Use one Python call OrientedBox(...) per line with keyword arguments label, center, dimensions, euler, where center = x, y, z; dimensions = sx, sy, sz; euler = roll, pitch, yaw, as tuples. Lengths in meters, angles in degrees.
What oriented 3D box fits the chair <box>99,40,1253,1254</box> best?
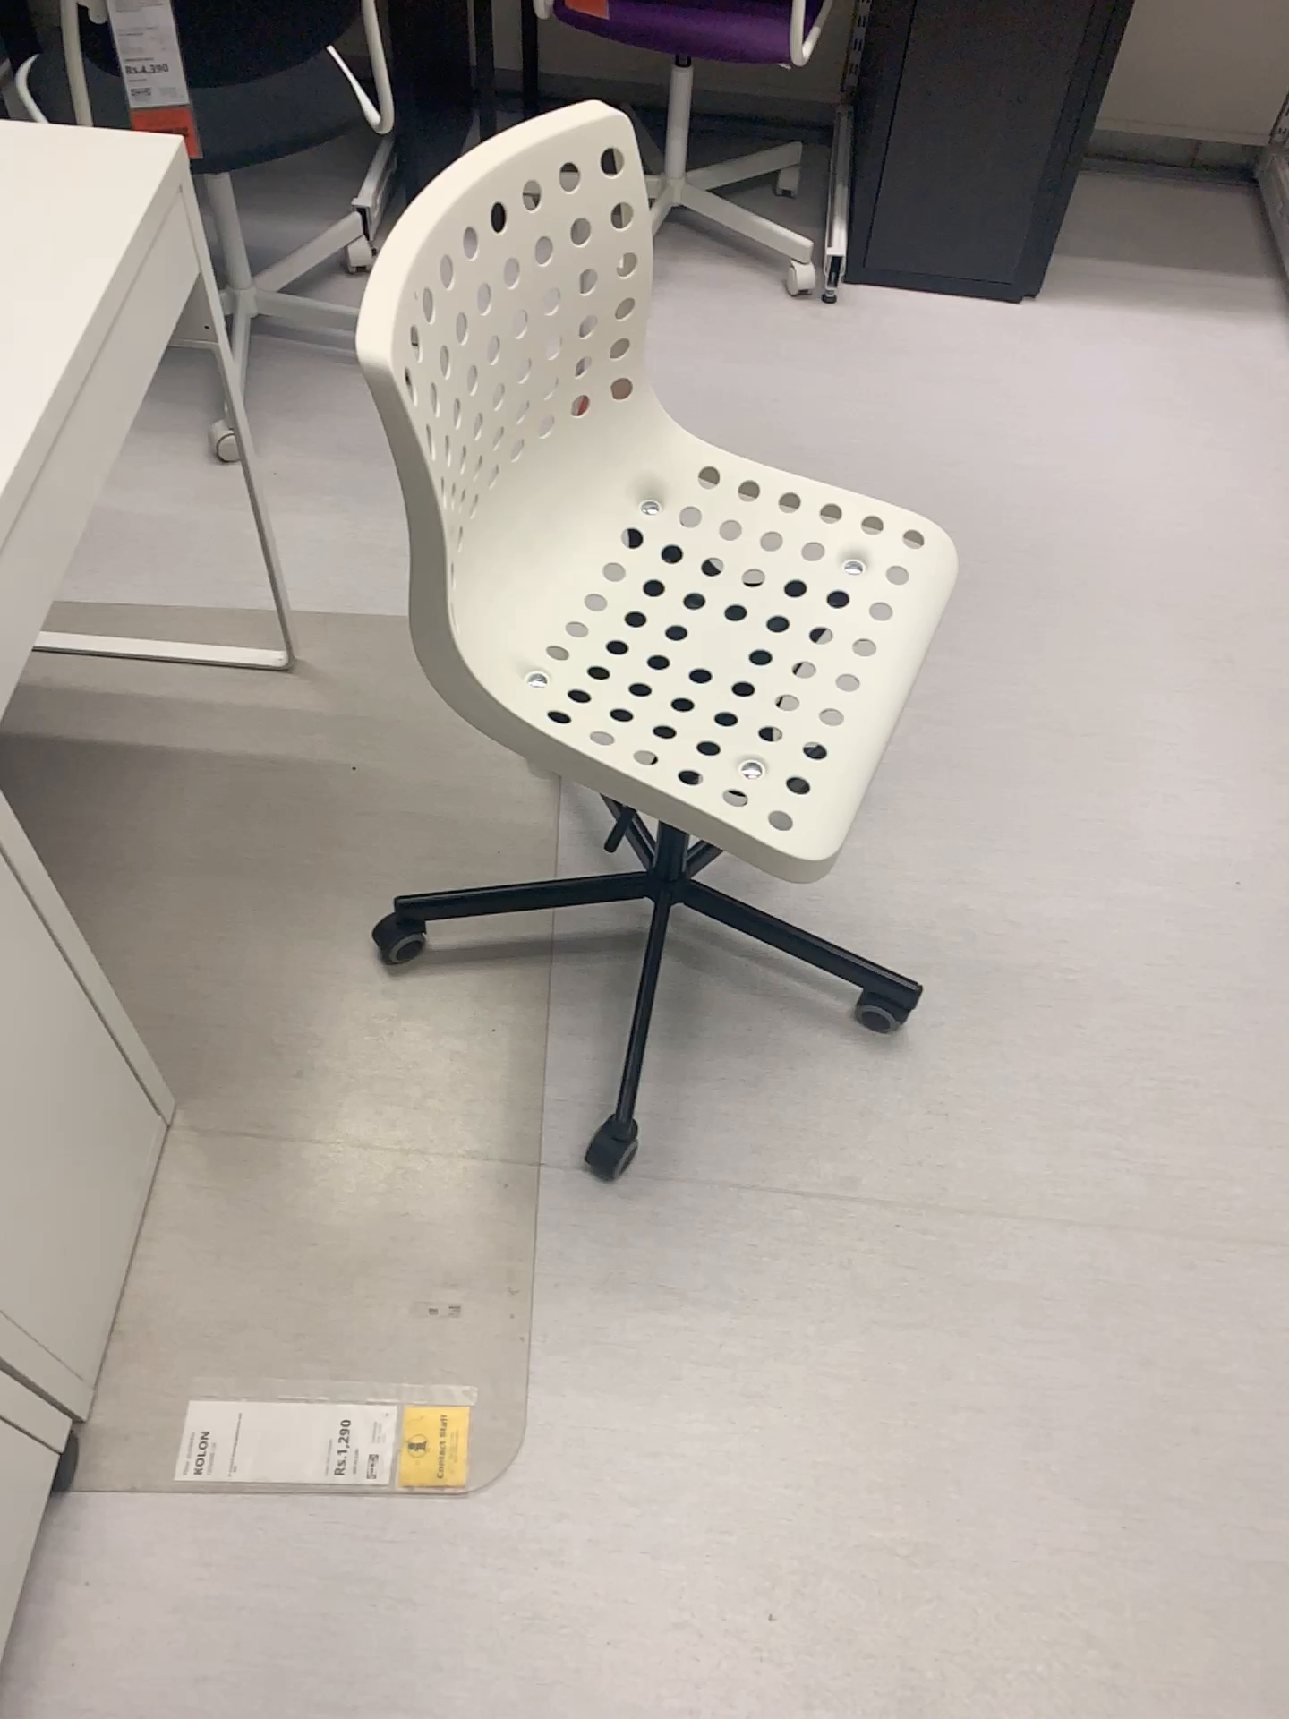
OrientedBox(label="chair", center=(0.062, -0.173, 1.295), dimensions=(0.670, 0.788, 0.681), euler=(19, 56, 9))
